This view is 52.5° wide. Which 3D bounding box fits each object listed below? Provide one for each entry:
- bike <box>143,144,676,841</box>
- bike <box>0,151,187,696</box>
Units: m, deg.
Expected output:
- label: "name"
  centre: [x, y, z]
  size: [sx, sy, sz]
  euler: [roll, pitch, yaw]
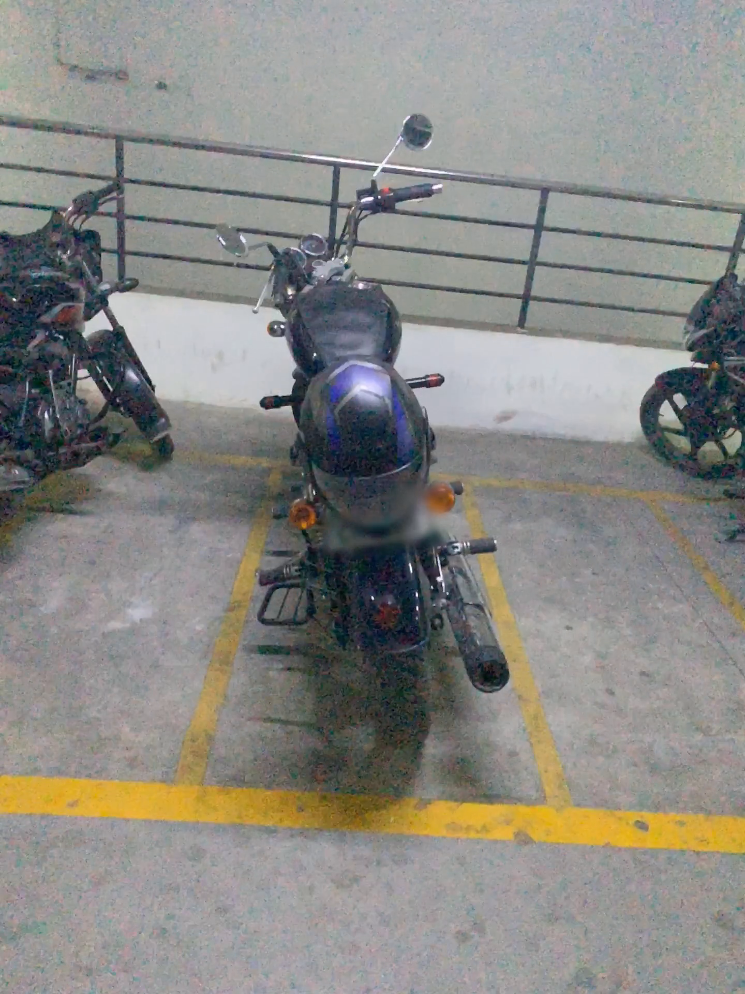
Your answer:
- label: "bike"
  centre: [-0.184, -0.212, 2.151]
  size: [0.842, 1.303, 1.673]
  euler: [1, 25, -14]
- label: "bike"
  centre: [-1.213, -0.407, 2.394]
  size: [0.593, 1.193, 1.510]
  euler: [11, 25, 10]
